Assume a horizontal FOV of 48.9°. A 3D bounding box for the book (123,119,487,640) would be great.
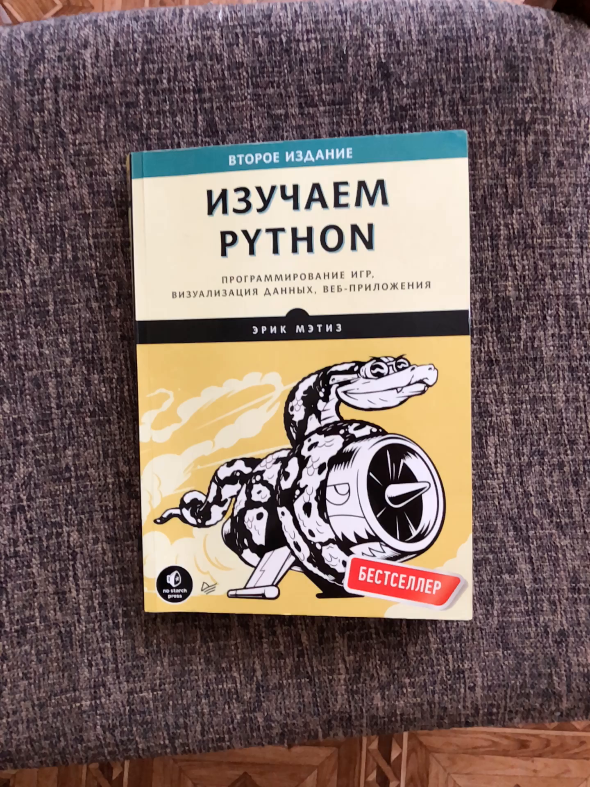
[{"bbox_3d":[0.003,-0.006,0.321,0.167,0.040,0.233,-1,89,7],"label":"book"}]
